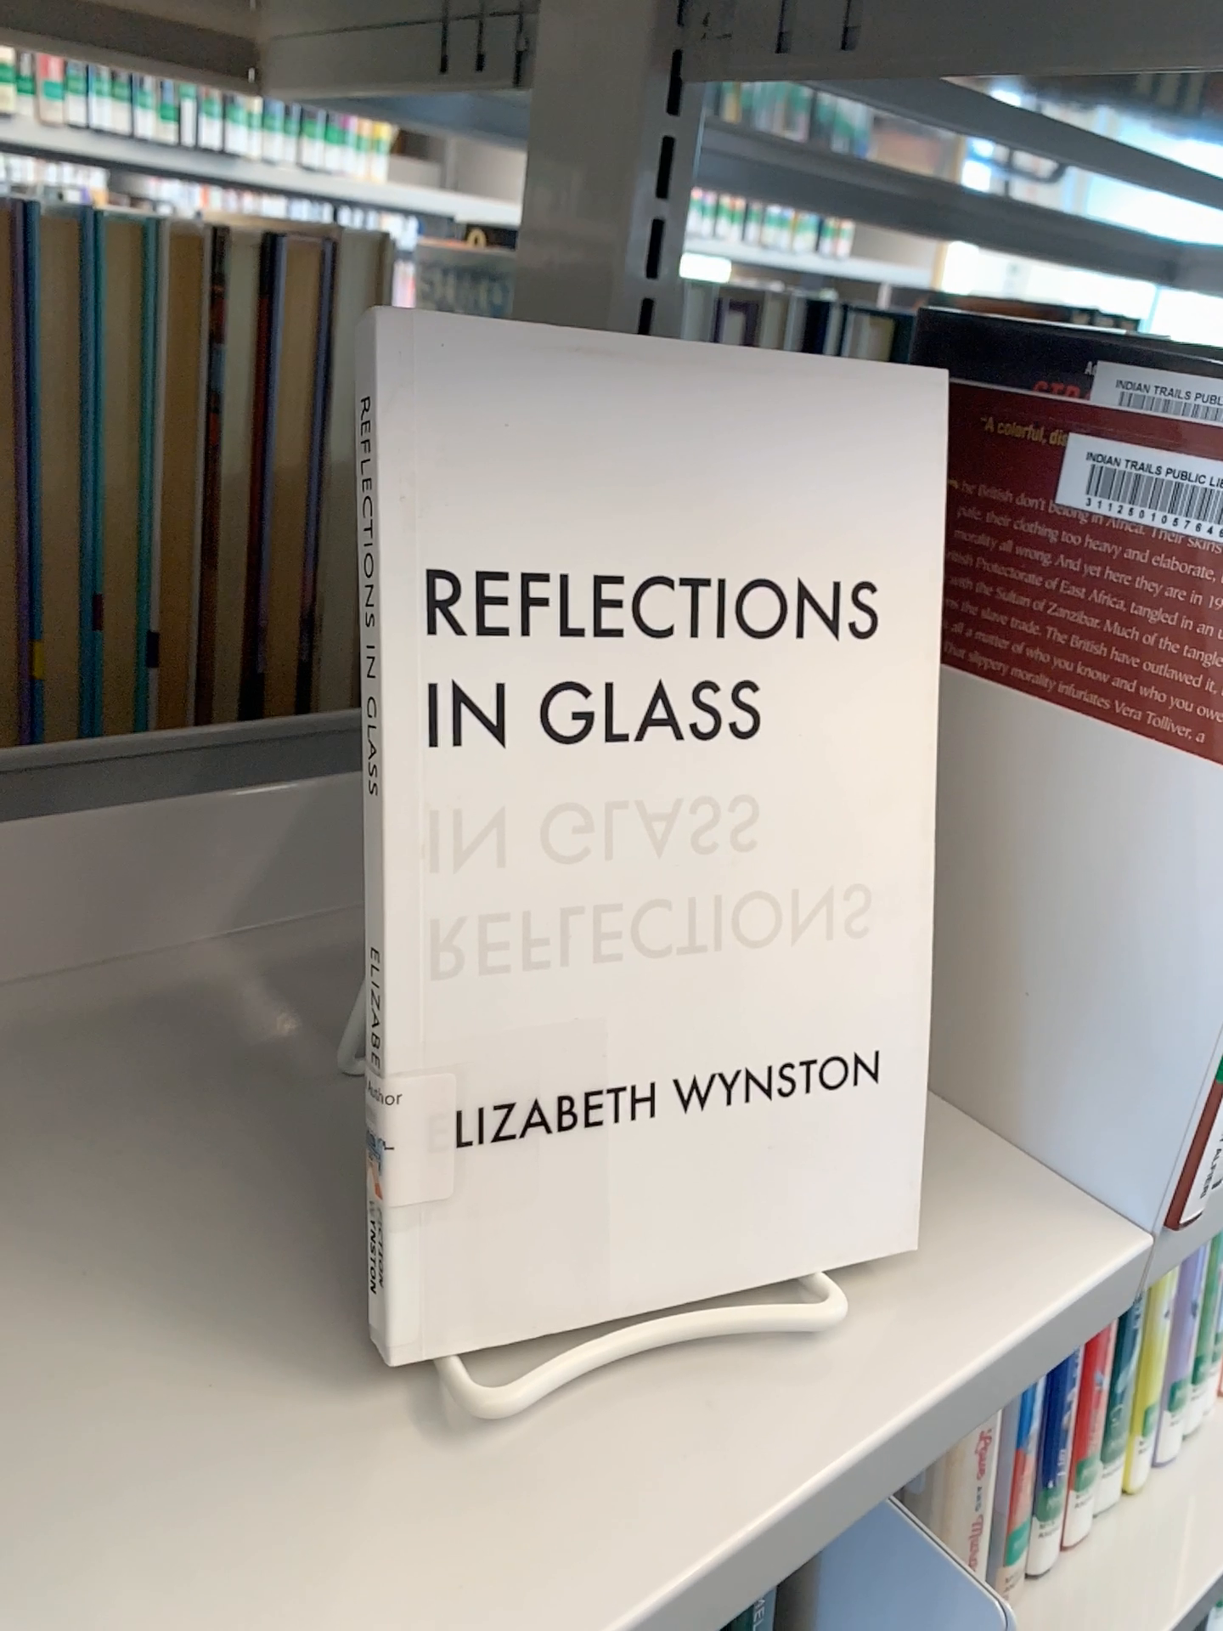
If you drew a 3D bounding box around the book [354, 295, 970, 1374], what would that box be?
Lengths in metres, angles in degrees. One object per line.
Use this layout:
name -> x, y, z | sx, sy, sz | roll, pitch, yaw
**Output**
book -> 0.013, 0.005, 0.263 | 0.127, 0.196, 0.018 | -2, 8, -24
